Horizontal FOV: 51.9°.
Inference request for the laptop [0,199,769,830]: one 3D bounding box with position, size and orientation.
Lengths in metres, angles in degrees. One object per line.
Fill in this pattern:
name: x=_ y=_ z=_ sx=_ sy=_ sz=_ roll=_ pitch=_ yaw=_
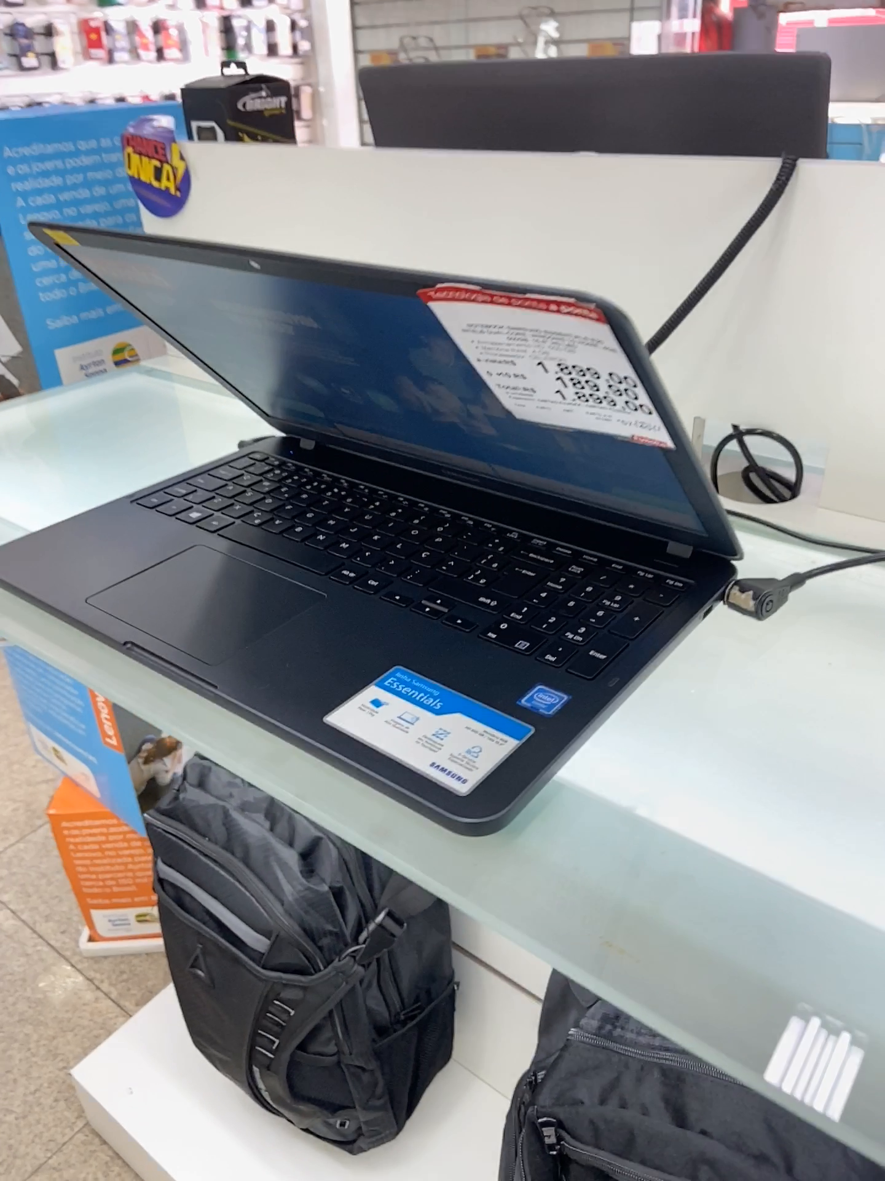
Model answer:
laptop: x=-0.066 y=-0.090 z=0.485 sx=0.373 sy=0.173 sz=0.246 roll=20 pitch=37 yaw=33
